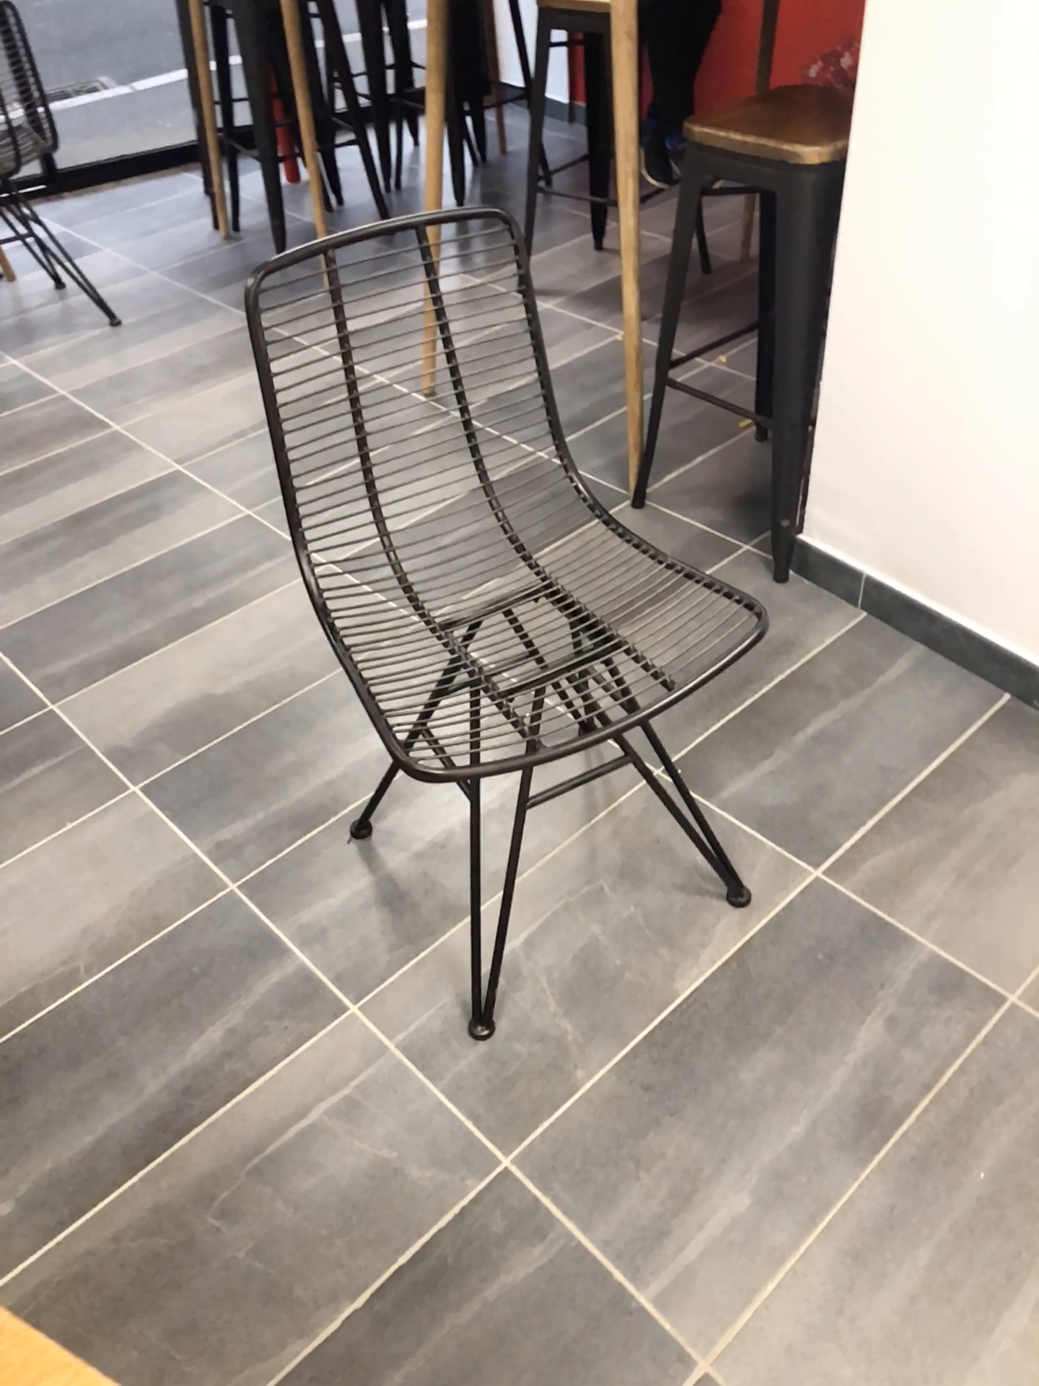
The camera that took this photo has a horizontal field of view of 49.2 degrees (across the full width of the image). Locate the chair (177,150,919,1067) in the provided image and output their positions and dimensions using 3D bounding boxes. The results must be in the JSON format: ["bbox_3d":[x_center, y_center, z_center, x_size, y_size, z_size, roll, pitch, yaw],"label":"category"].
[{"bbox_3d":[0.021,-0.101,1.310,0.501,0.785,0.522,-22,43,-19],"label":"chair"}]
